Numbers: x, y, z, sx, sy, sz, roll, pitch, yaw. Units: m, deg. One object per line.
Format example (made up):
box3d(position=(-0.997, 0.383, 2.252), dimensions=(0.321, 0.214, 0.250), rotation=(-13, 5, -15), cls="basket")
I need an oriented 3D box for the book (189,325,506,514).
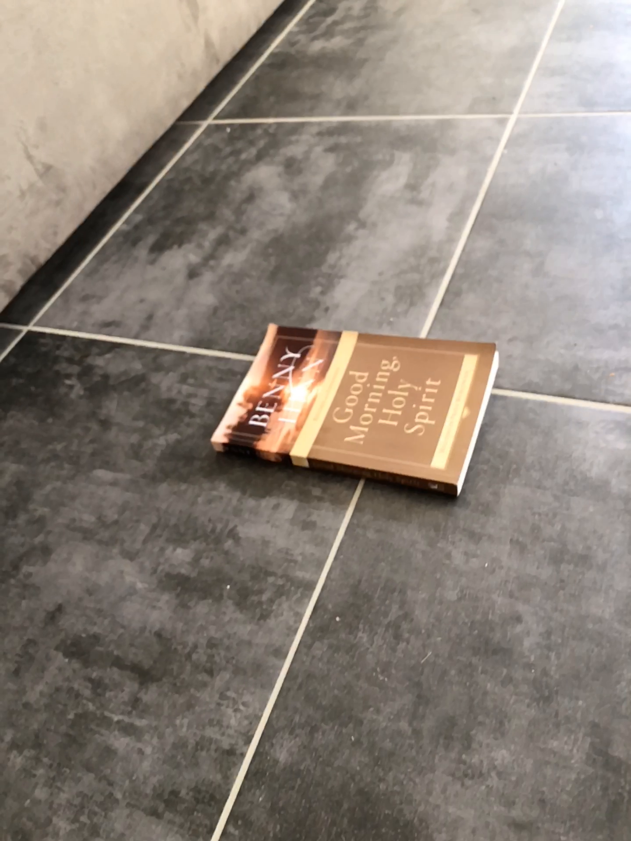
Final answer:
box3d(position=(0.028, -0.012, 0.588), dimensions=(0.230, 0.020, 0.151), rotation=(9, 53, 23), cls="book")
